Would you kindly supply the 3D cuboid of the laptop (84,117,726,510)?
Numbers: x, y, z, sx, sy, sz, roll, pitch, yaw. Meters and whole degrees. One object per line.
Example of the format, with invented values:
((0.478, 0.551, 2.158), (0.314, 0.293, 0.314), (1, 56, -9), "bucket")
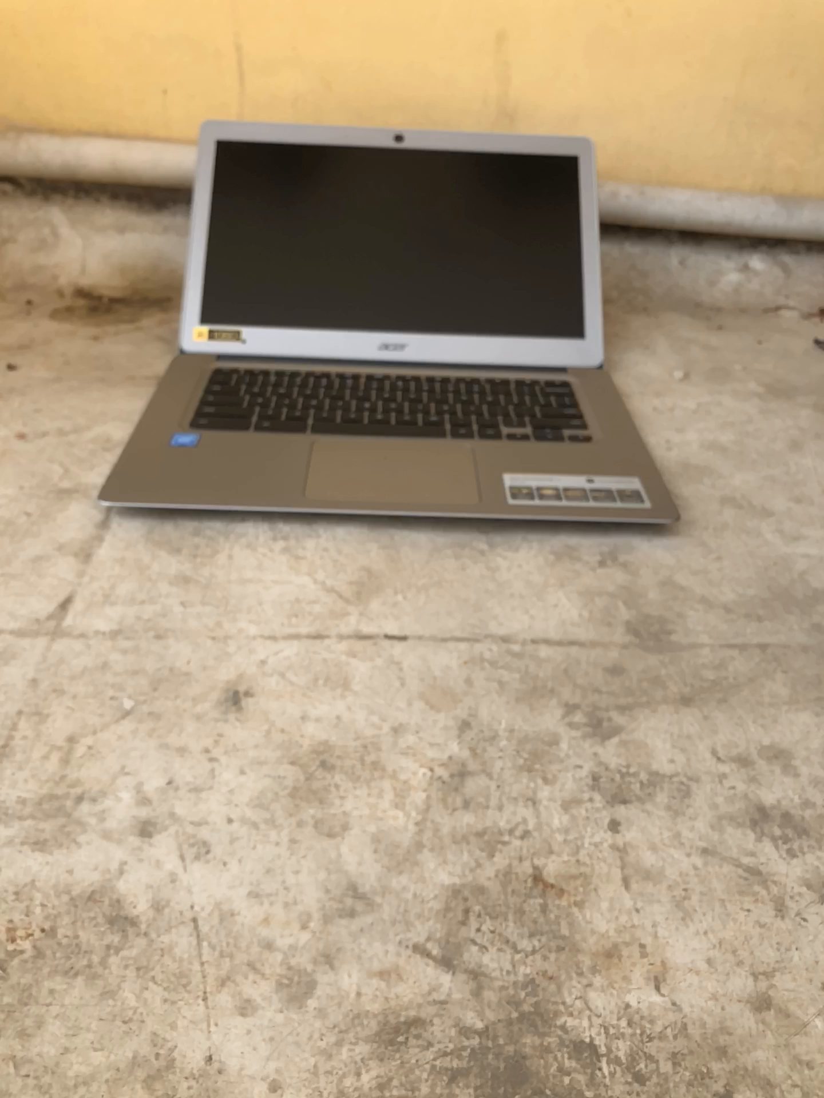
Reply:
((-0.007, -0.191, 0.646), (0.315, 0.136, 0.381), (2, 34, -2), "laptop")
